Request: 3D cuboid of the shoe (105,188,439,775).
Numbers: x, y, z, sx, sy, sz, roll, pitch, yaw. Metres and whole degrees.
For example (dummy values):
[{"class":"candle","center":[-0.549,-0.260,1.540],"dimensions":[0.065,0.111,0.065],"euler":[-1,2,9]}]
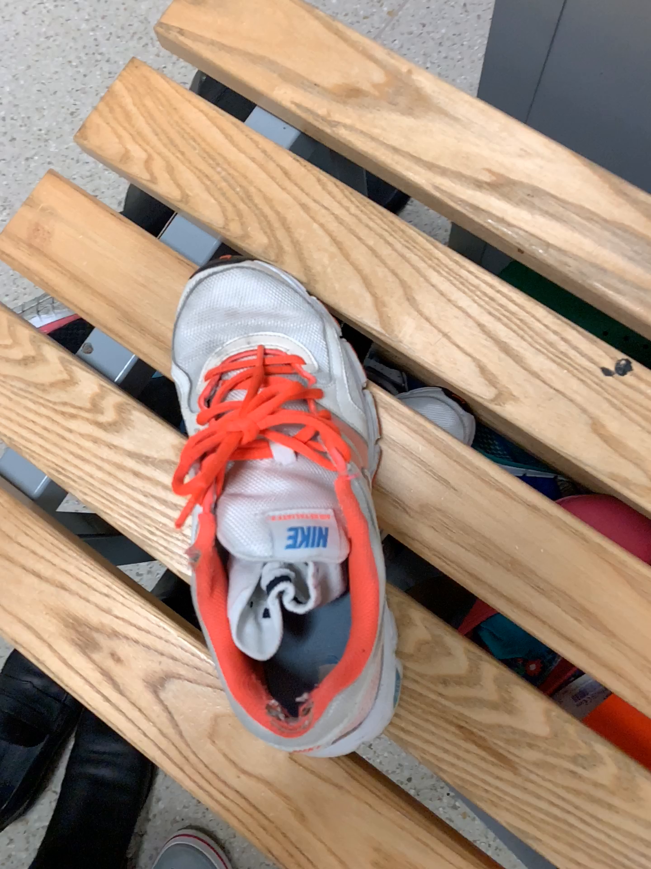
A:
[{"class":"shoe","center":[-0.025,0.019,0.330],"dimensions":[0.110,0.079,0.241],"euler":[-11,81,4]}]
